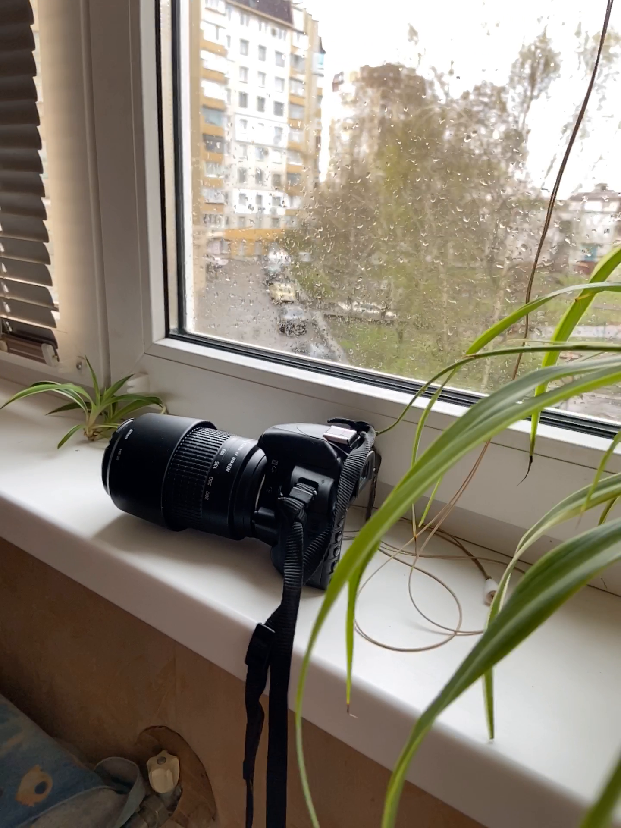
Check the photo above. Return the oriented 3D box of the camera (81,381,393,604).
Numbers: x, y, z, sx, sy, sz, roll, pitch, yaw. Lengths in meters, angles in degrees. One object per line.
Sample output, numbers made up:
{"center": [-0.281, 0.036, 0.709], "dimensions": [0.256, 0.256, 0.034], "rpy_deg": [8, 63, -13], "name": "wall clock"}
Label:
{"center": [-0.049, 0.046, 0.477], "dimensions": [0.190, 0.089, 0.126], "rpy_deg": [9, 19, 17], "name": "camera"}
